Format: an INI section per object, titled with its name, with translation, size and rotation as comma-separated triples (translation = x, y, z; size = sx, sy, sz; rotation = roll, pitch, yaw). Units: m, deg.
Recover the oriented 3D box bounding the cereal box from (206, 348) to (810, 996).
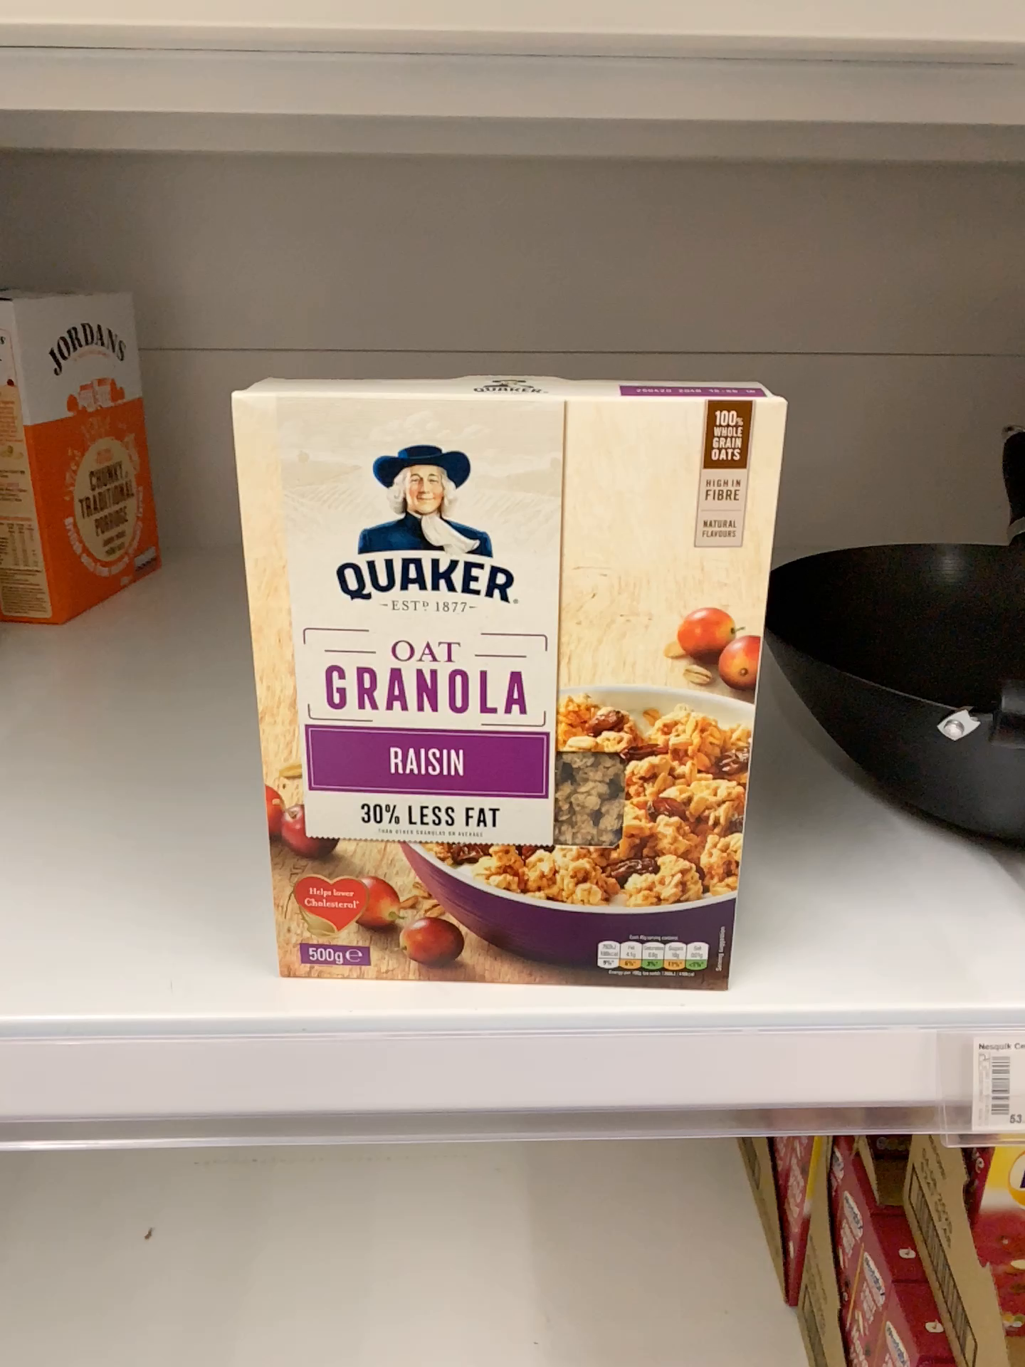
[cereal box]
translation = -0.003, 0.000, 0.421
size = 0.200, 0.248, 0.060
rotation = 1, 21, 2
